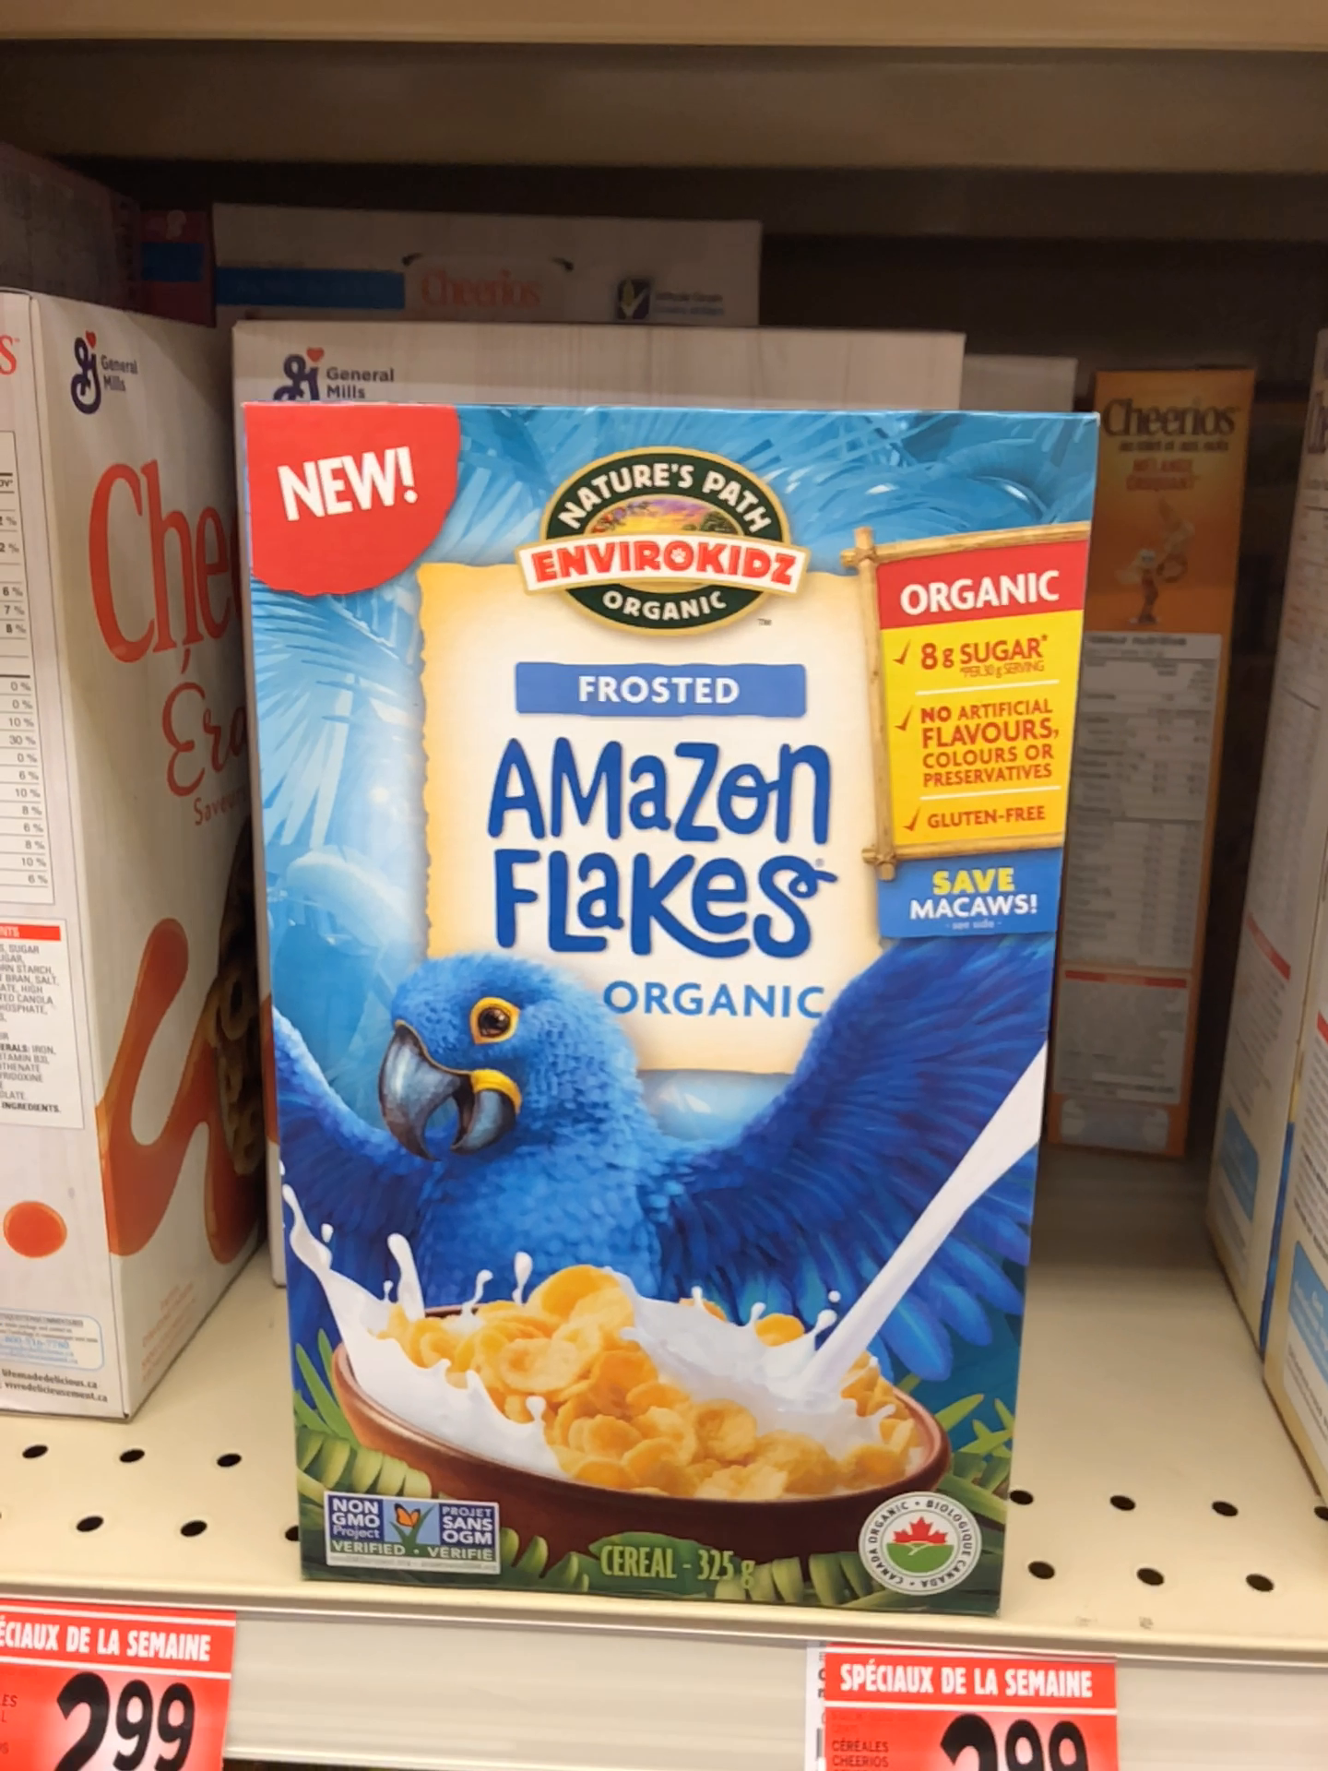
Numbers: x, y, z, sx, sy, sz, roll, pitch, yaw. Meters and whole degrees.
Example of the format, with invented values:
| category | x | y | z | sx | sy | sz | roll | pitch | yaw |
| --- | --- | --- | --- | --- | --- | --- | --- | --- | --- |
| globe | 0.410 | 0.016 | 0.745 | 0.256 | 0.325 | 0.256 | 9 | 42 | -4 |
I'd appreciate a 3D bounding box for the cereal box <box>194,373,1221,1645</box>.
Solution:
| category | x | y | z | sx | sy | sz | roll | pitch | yaw |
| --- | --- | --- | --- | --- | --- | --- | --- | --- | --- |
| cereal box | 0.005 | 0.029 | 0.302 | 0.170 | 0.249 | 0.050 | 2 | 16 | 3 |
